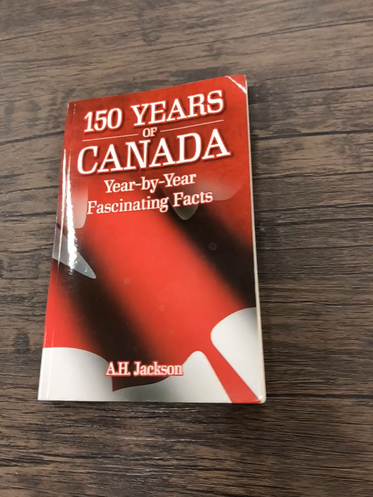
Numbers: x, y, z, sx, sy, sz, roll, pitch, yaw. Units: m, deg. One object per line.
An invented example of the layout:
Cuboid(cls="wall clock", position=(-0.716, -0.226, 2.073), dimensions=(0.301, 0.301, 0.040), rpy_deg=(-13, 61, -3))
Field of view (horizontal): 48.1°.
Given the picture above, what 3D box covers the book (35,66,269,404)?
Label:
Cuboid(cls="book", position=(-0.022, -0.011, 0.267), dimensions=(0.130, 0.025, 0.206), rpy_deg=(-6, 70, 16))
